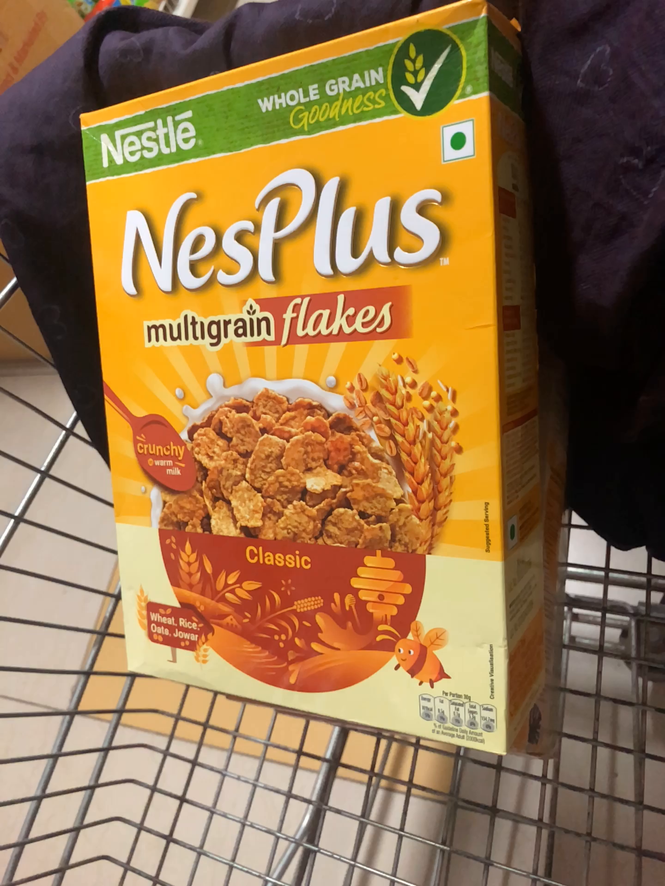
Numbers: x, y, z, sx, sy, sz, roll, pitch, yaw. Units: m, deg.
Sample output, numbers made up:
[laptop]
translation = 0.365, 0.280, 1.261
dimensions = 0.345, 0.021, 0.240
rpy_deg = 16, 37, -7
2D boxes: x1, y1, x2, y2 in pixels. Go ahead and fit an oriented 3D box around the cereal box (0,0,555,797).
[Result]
[cereal box]
translation = -0.018, -0.023, 0.290
dimensions = 0.190, 0.080, 0.259
rpy_deg = 3, 104, 26
